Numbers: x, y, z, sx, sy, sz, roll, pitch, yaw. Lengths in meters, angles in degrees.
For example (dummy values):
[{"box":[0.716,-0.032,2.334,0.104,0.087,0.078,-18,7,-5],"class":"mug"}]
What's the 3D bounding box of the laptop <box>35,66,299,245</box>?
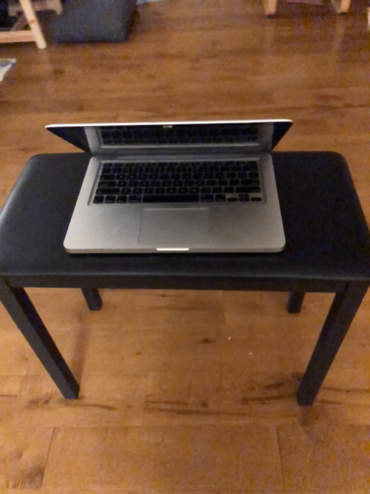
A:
[{"box":[-0.021,-0.131,0.591,0.309,0.144,0.210,-1,48,7],"class":"laptop"}]
